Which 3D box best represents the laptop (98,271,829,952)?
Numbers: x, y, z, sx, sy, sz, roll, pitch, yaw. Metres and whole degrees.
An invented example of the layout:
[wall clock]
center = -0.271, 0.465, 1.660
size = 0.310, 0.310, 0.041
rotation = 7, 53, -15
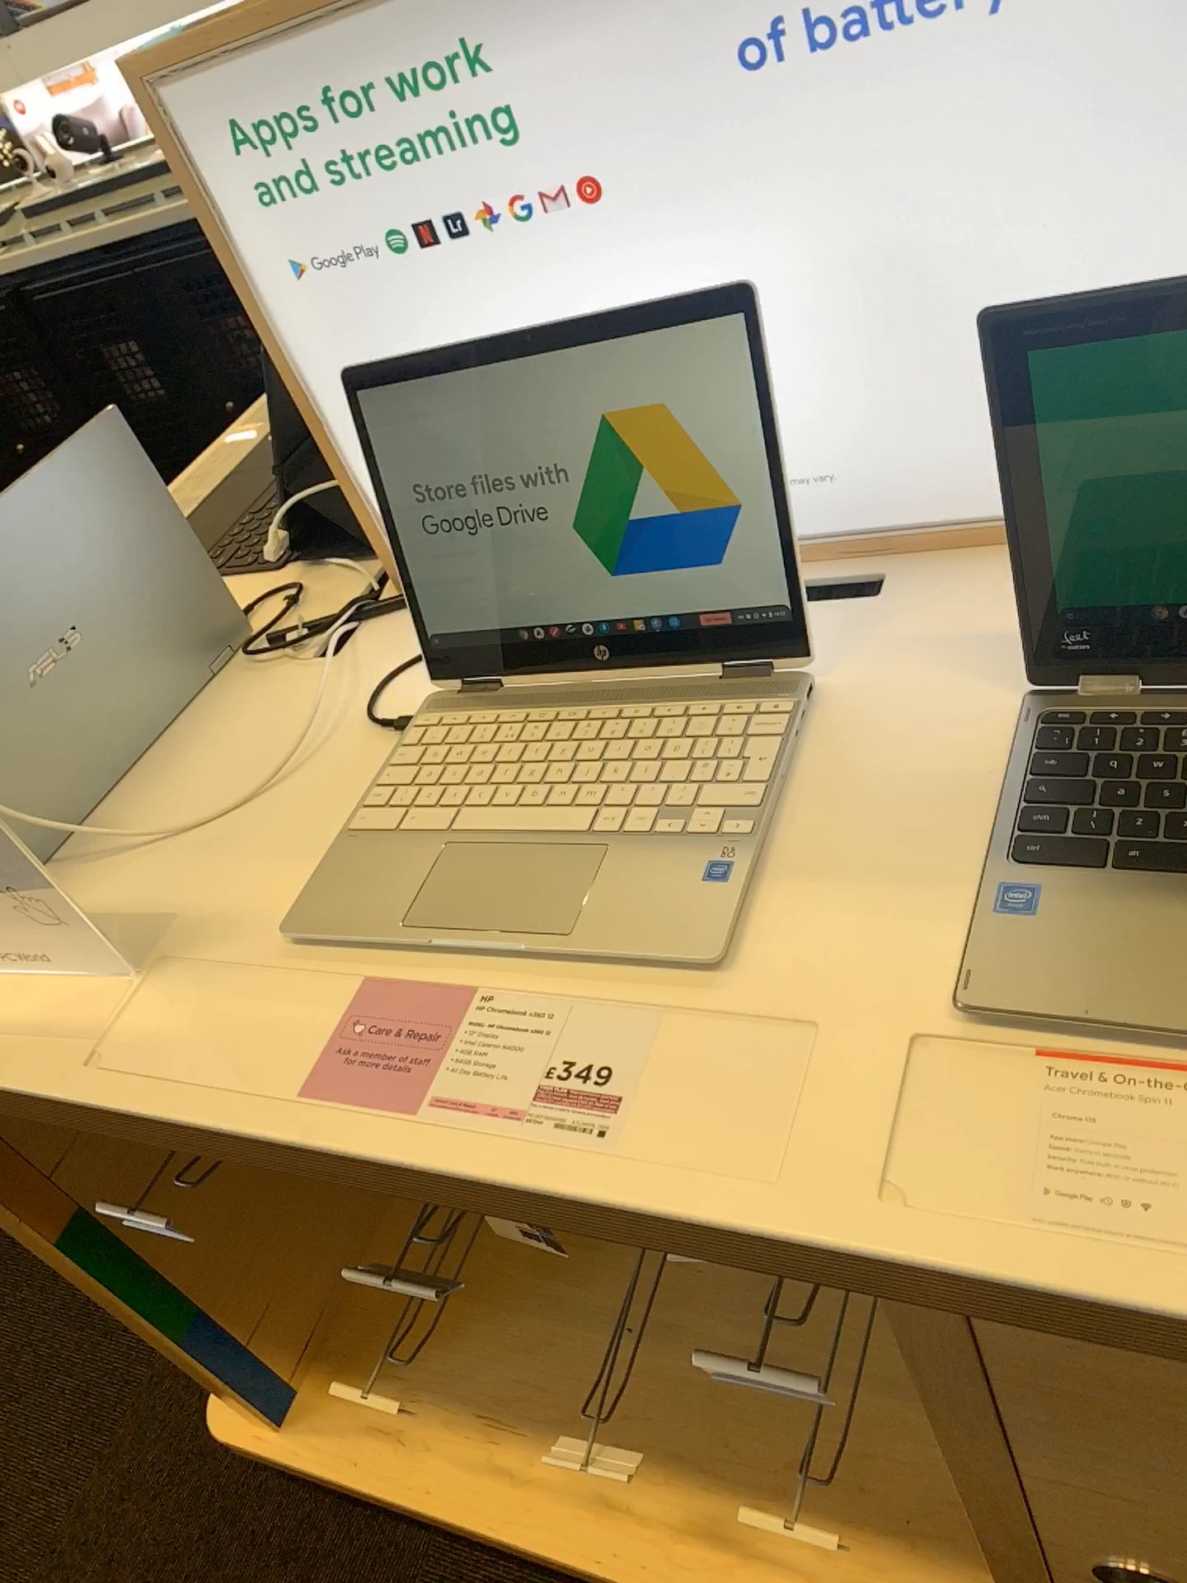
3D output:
[laptop]
center = -0.046, -0.093, 0.649
size = 0.258, 0.190, 0.271
rotation = -1, 46, 29
